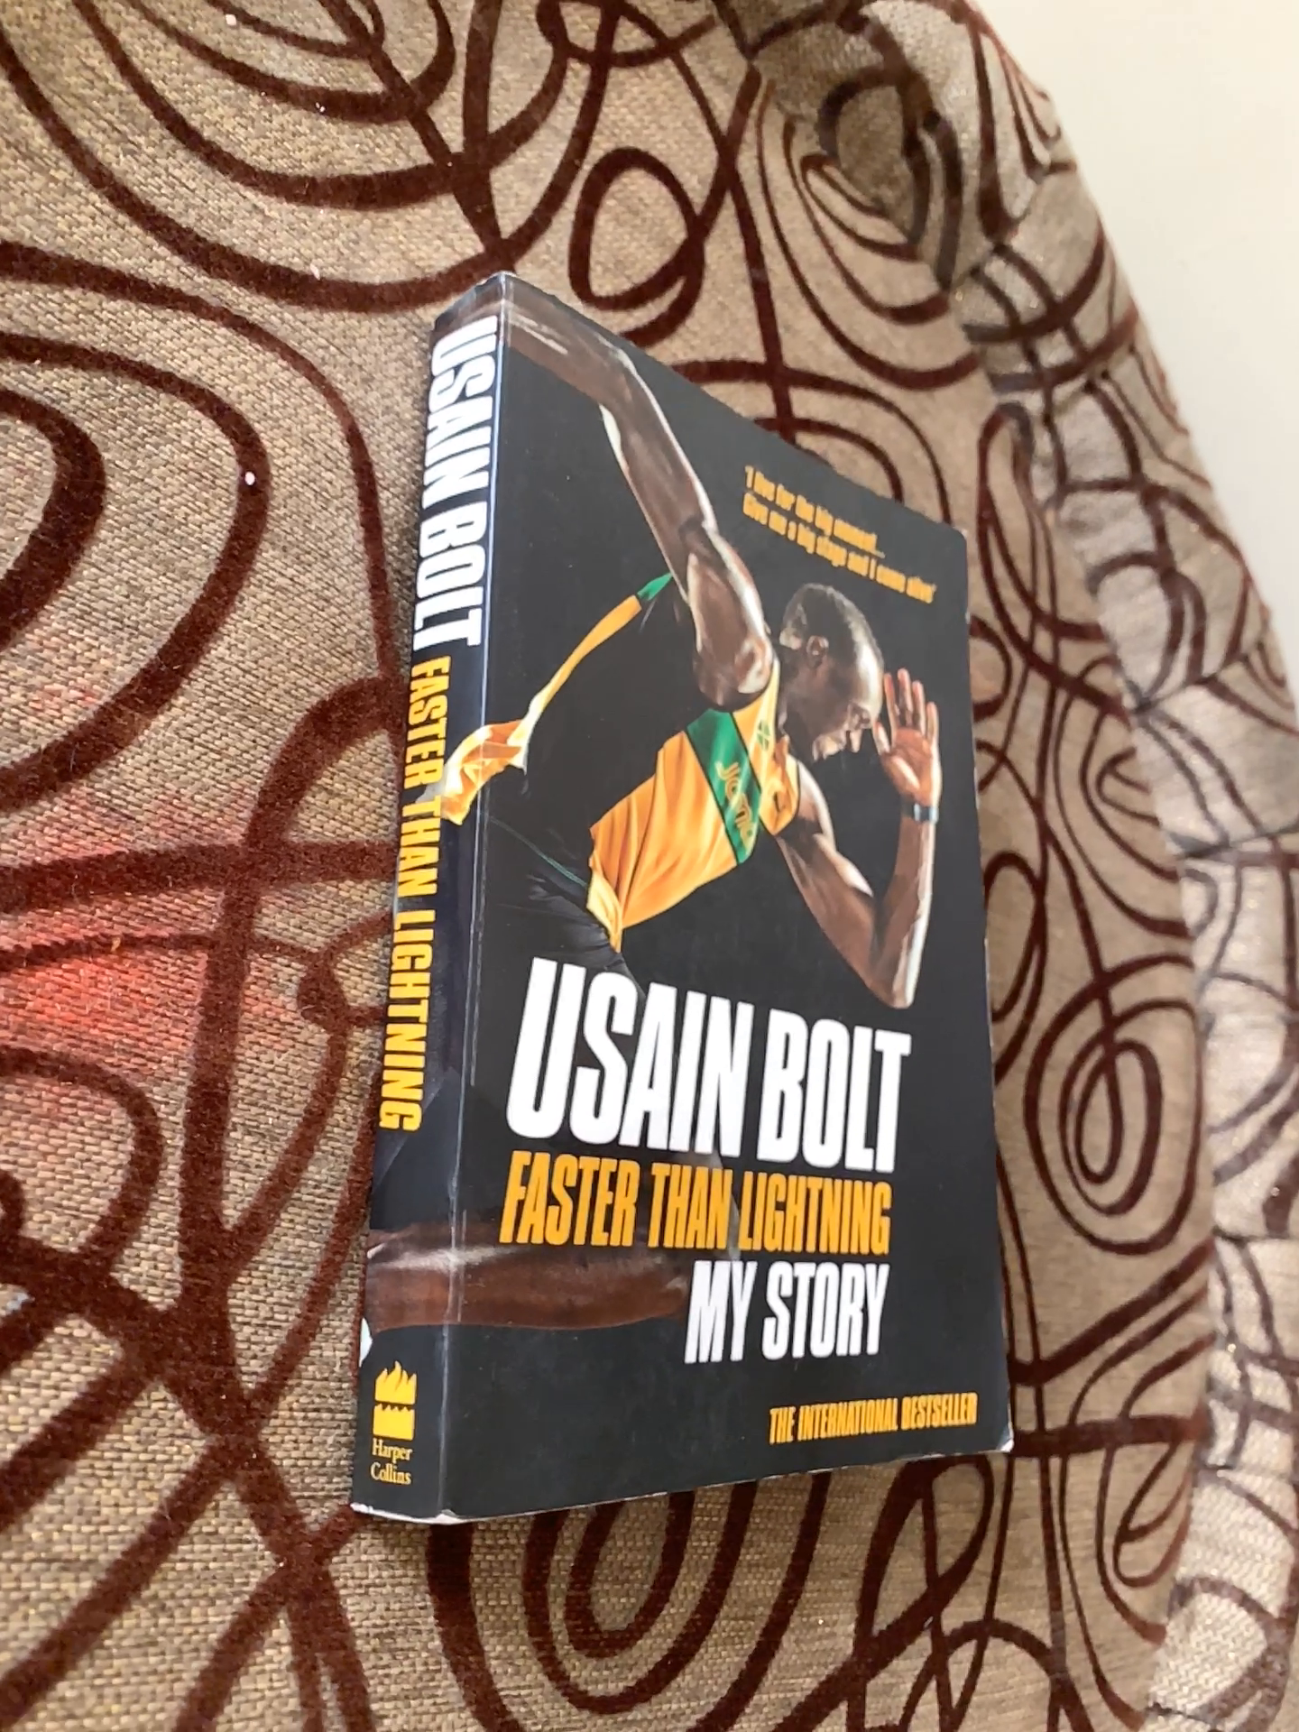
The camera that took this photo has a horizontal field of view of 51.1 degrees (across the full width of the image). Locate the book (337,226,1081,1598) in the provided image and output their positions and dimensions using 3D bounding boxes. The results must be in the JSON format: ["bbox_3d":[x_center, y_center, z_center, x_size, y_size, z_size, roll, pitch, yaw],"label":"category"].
[{"bbox_3d":[0.021,0.009,0.248,0.141,0.030,0.200,16,67,-41],"label":"book"}]
